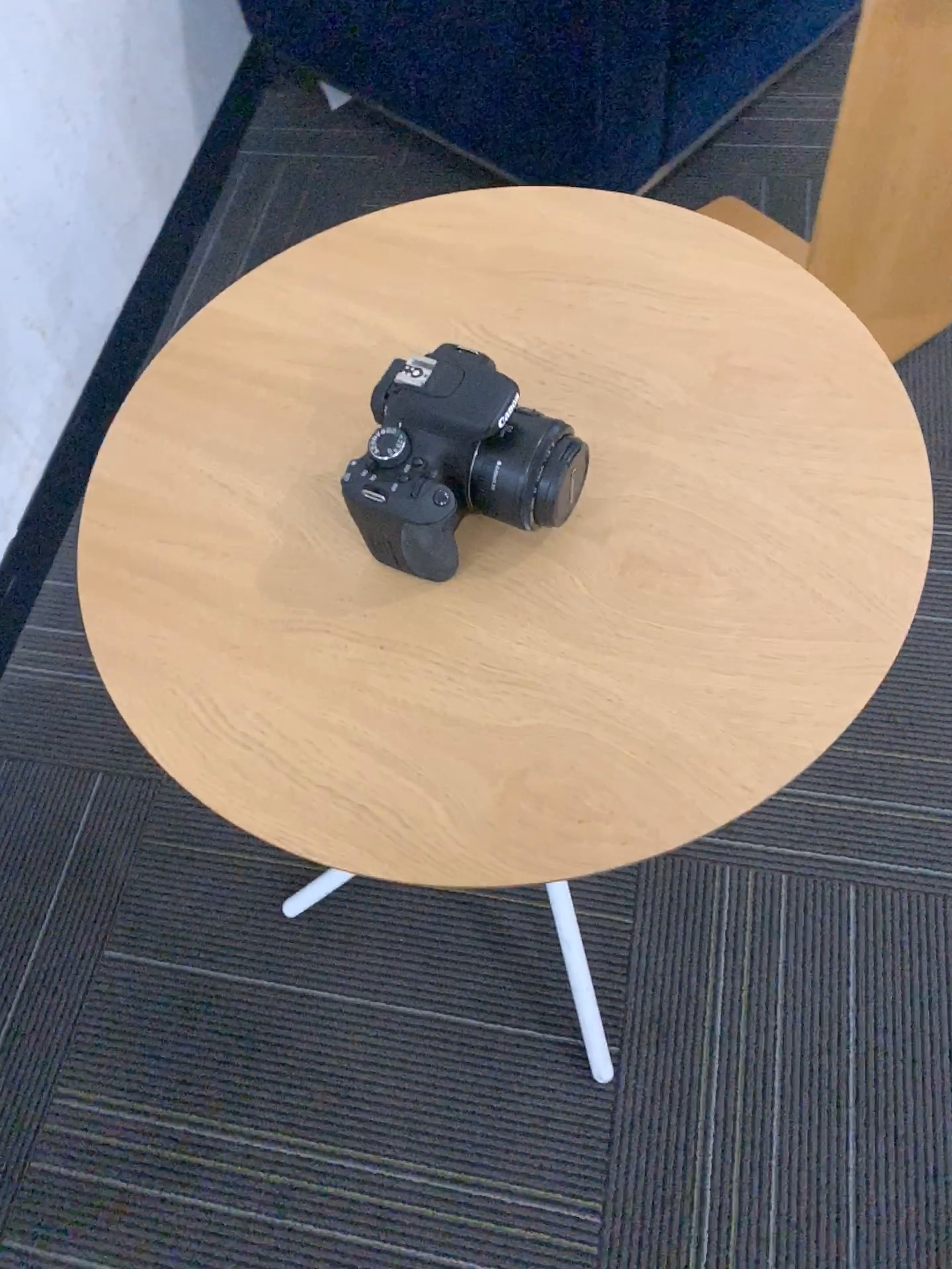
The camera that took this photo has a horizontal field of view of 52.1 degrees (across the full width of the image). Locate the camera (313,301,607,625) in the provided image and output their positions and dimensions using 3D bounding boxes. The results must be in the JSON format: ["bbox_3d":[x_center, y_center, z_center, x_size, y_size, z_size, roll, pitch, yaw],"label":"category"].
[{"bbox_3d":[-0.002,-0.102,0.580,0.117,0.100,0.130,21,66,18],"label":"camera"}]
